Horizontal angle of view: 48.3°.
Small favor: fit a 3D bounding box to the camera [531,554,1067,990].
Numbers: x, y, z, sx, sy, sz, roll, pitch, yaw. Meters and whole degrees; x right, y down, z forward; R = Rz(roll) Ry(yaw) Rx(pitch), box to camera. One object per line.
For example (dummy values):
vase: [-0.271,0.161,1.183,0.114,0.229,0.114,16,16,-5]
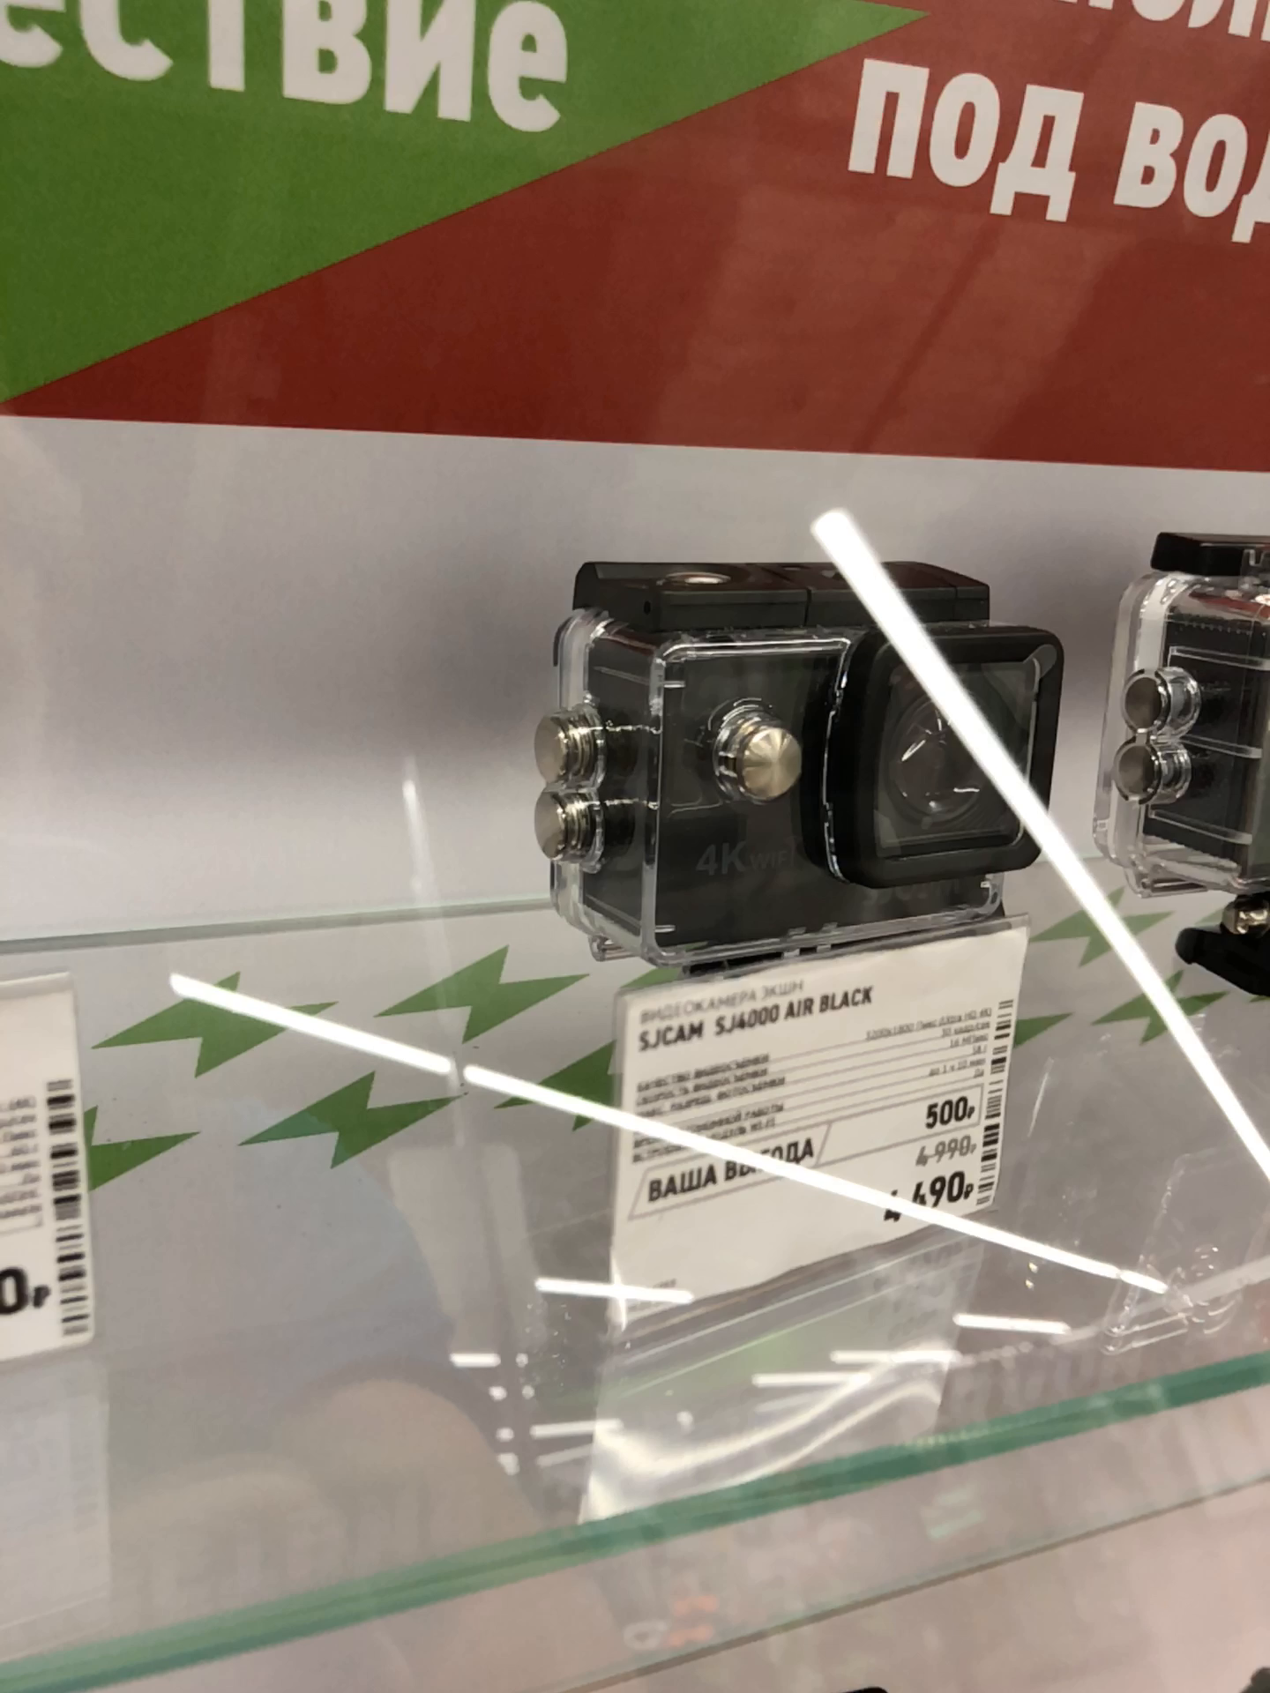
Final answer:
camera: [0.025,-0.015,0.217,0.074,0.056,0.033,-7,17,-29]
